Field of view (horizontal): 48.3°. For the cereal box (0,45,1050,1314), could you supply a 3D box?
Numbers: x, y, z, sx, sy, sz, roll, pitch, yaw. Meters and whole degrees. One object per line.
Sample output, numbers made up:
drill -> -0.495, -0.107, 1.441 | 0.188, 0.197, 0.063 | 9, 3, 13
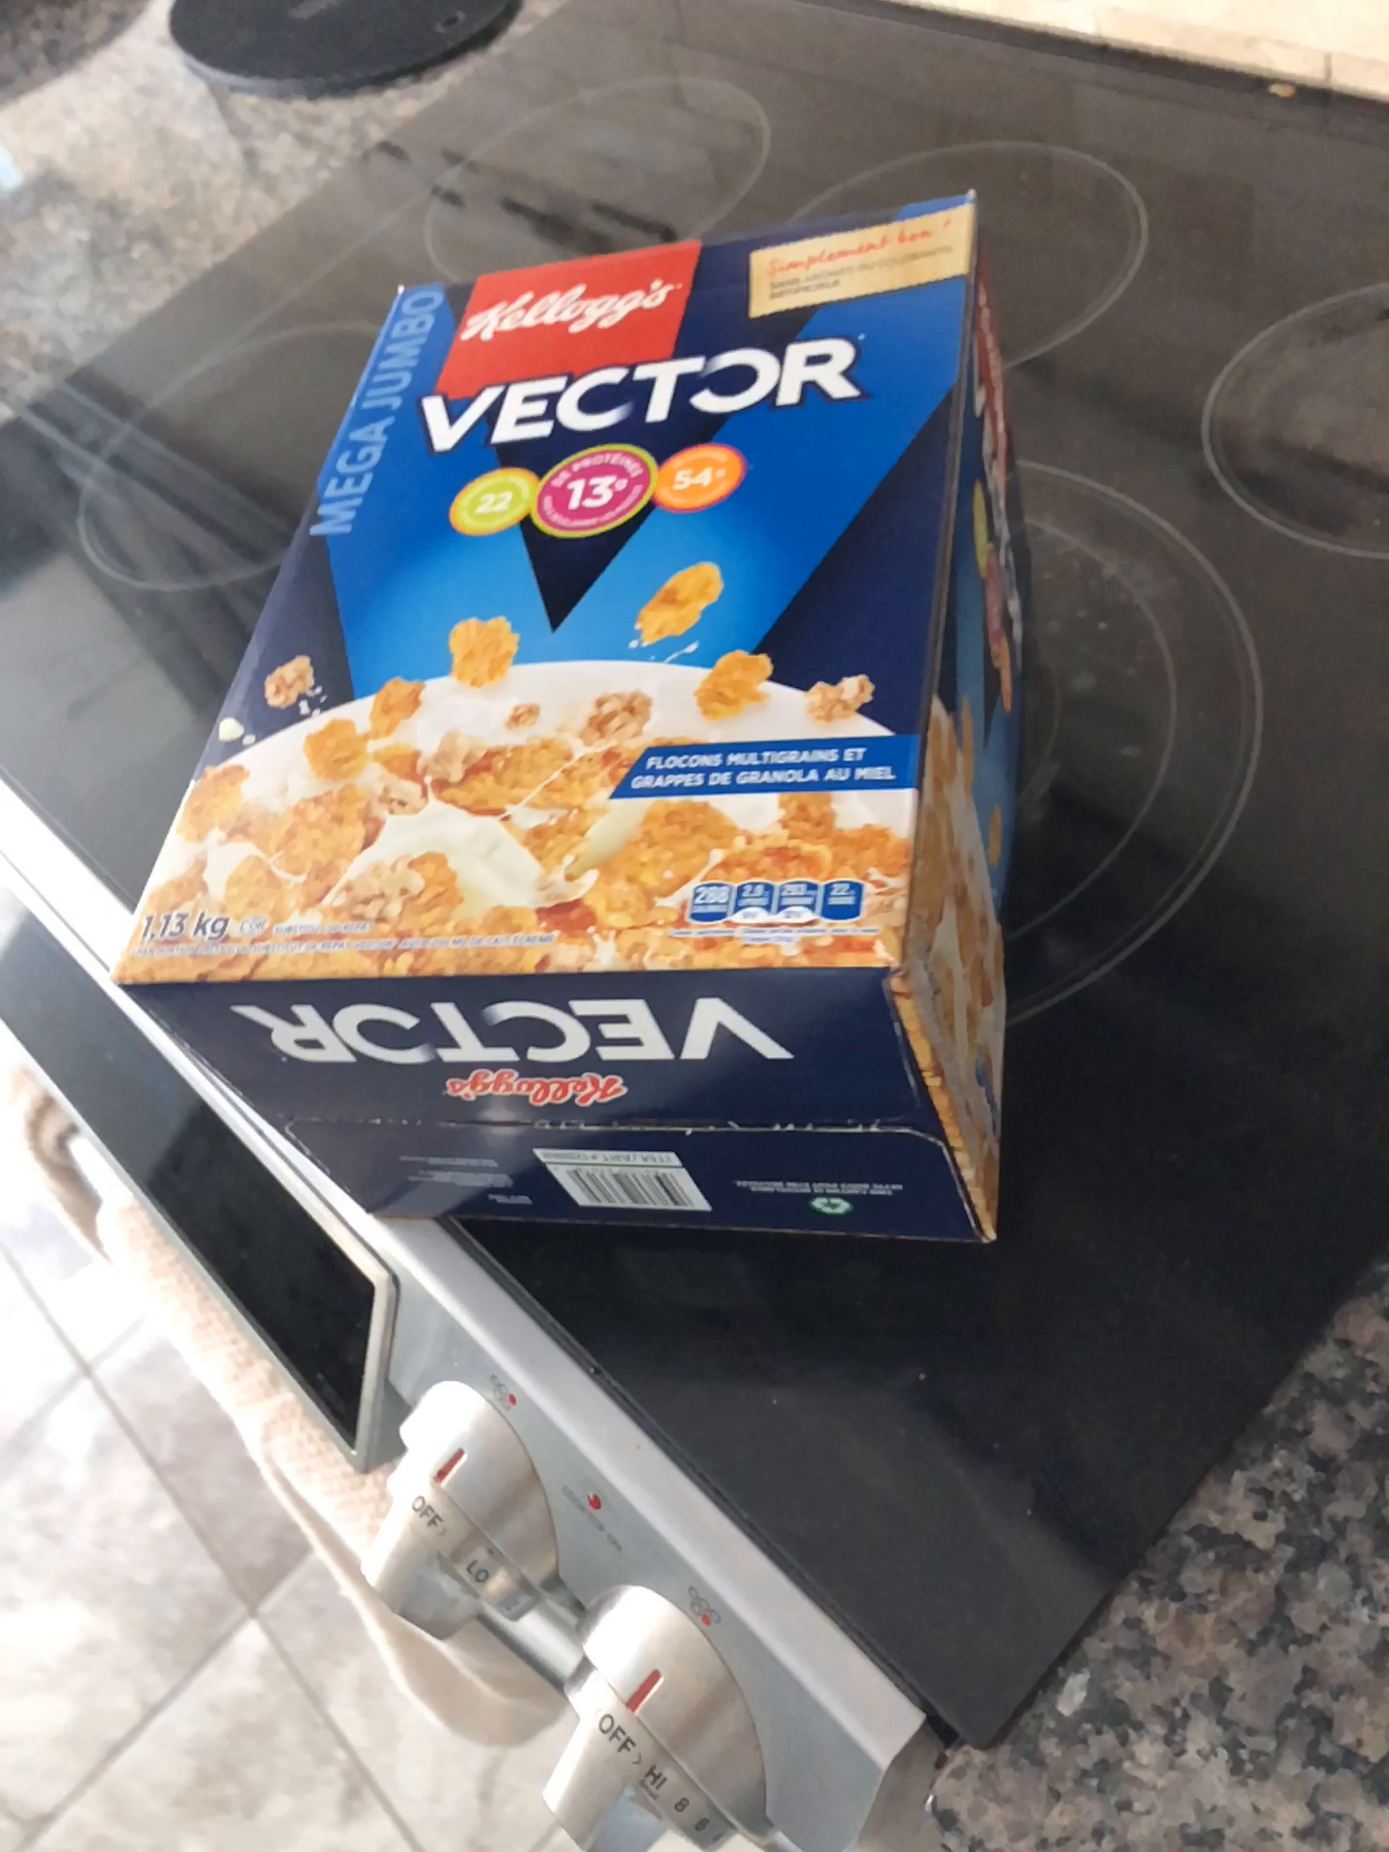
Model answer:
cereal box -> -0.018, -0.069, 0.463 | 0.220, 0.170, 0.311 | -1, 60, 18
